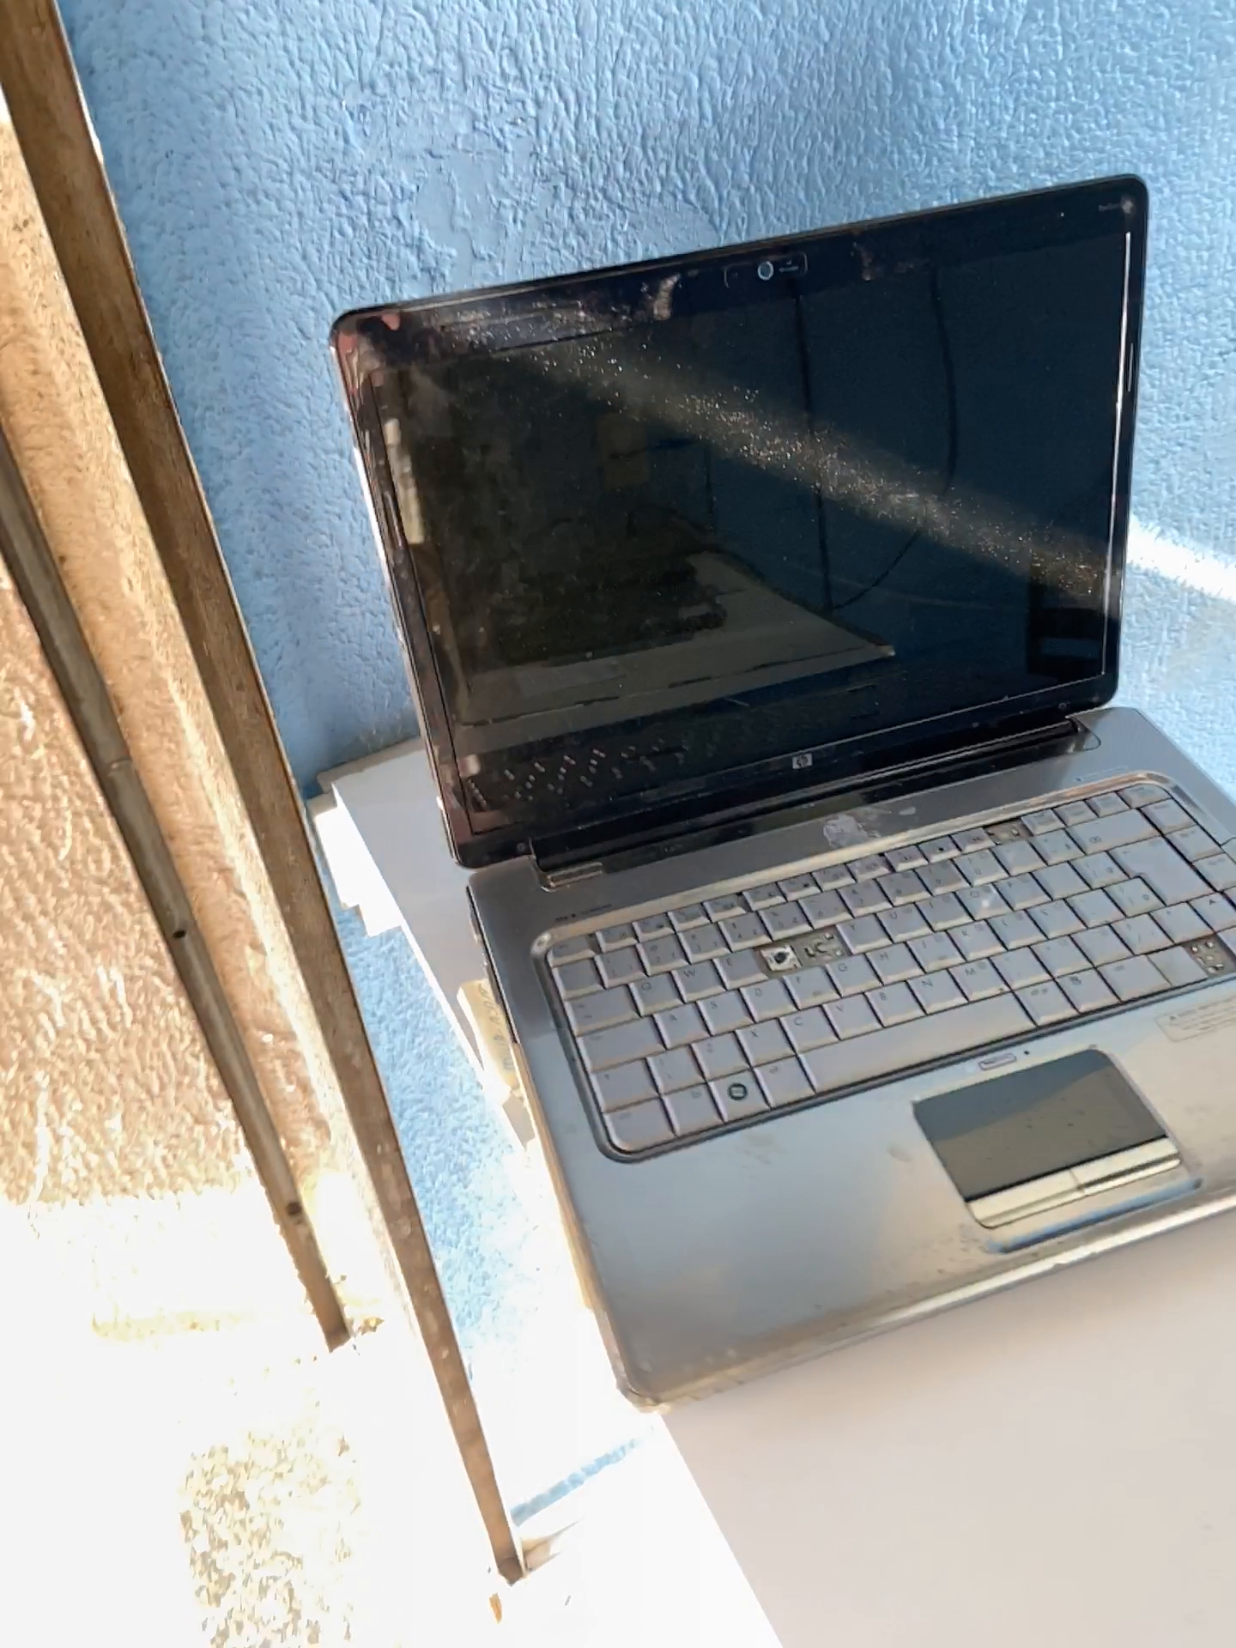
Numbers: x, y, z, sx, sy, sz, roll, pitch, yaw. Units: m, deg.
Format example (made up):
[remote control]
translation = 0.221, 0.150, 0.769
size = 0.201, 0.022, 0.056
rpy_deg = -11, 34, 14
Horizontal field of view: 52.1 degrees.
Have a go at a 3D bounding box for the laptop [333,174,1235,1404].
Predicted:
[laptop]
translation = 0.115, -0.051, 0.478
size = 0.351, 0.233, 0.330
rpy_deg = -14, 42, -11
